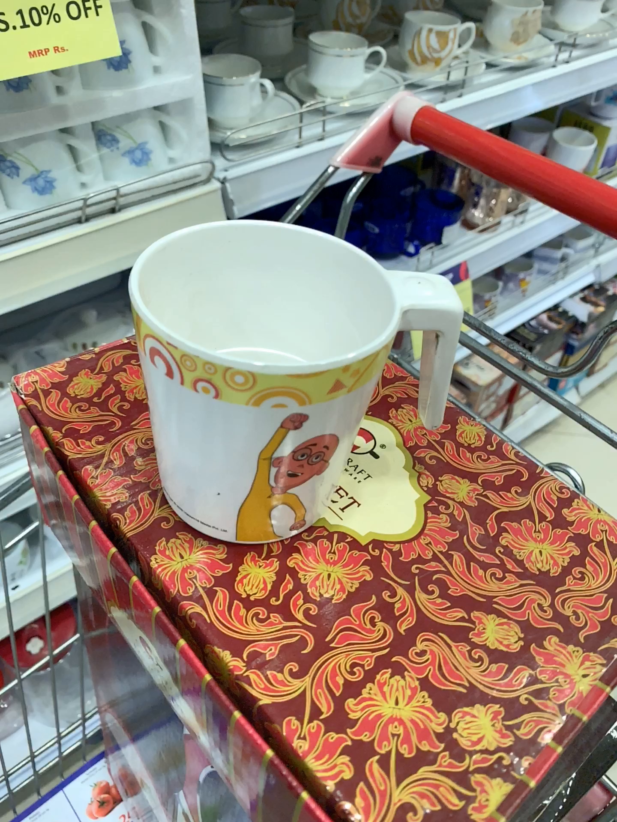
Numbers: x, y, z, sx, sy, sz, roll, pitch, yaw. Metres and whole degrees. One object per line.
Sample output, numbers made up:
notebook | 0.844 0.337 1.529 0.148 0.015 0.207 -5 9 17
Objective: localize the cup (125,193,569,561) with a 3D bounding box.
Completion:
cup | 0.002 -0.014 0.209 0.110 0.080 0.080 -5 46 -13
